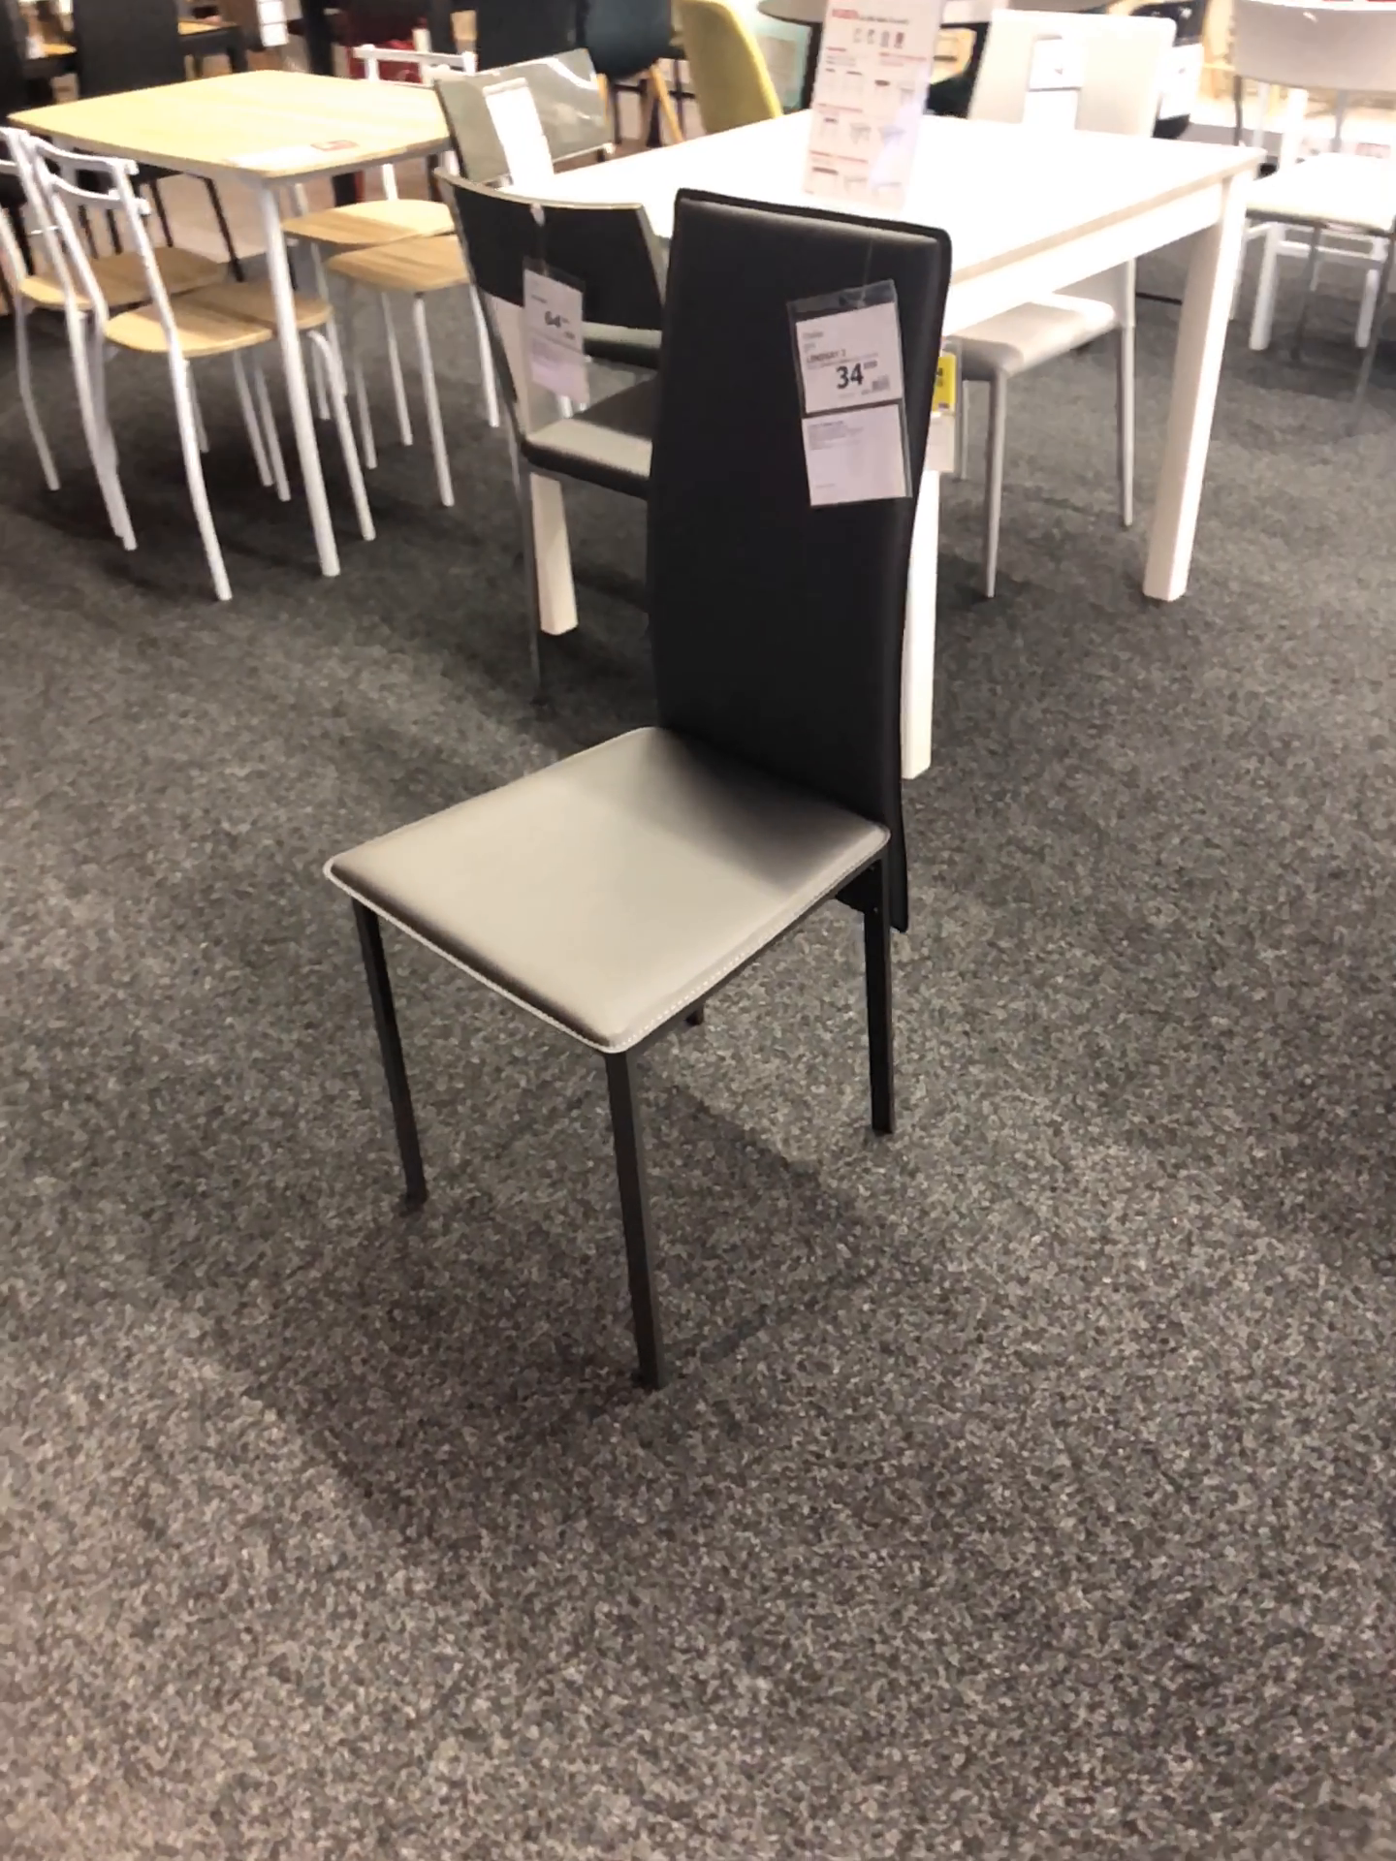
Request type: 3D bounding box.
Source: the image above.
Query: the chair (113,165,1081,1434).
[{"bbox_3d":[-0.046,-0.129,1.428,0.470,0.934,0.563,29,47,36],"label":"chair"}]
